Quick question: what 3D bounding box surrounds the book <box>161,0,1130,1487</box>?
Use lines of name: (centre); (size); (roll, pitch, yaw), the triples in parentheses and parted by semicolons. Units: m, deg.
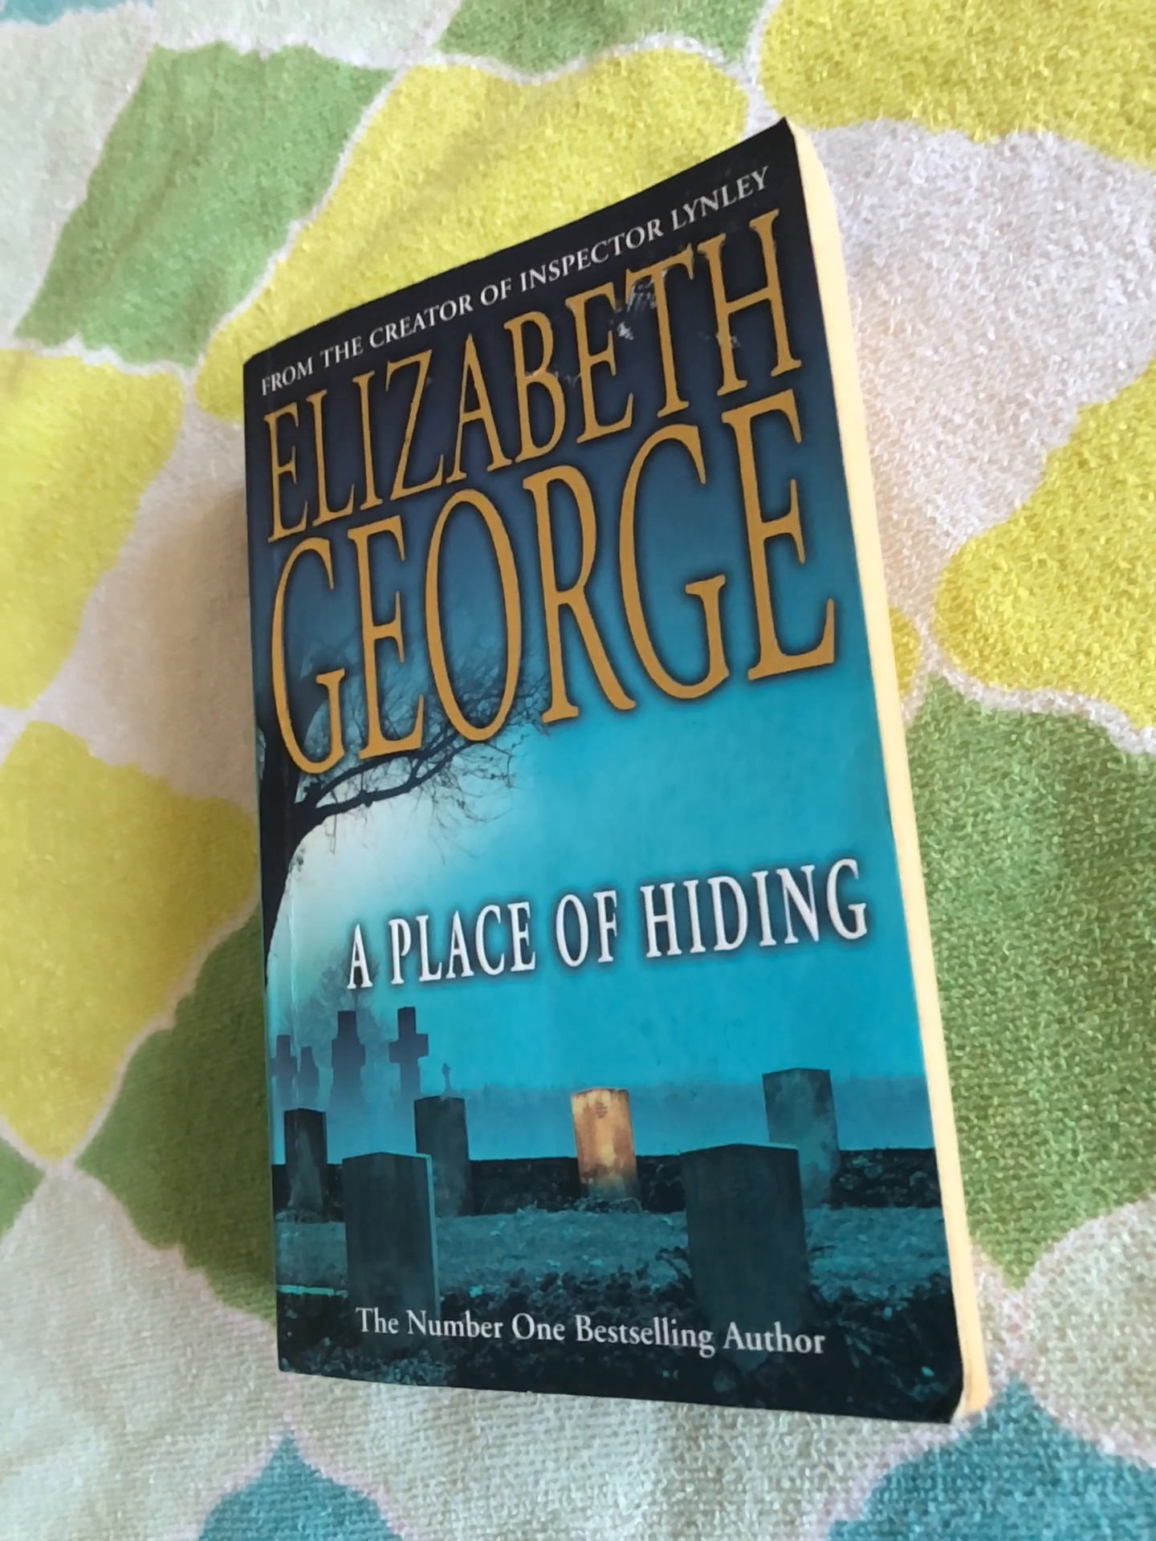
book: (0.009, 0.000, 0.231); (0.130, 0.070, 0.210); (-10, 81, 21)
